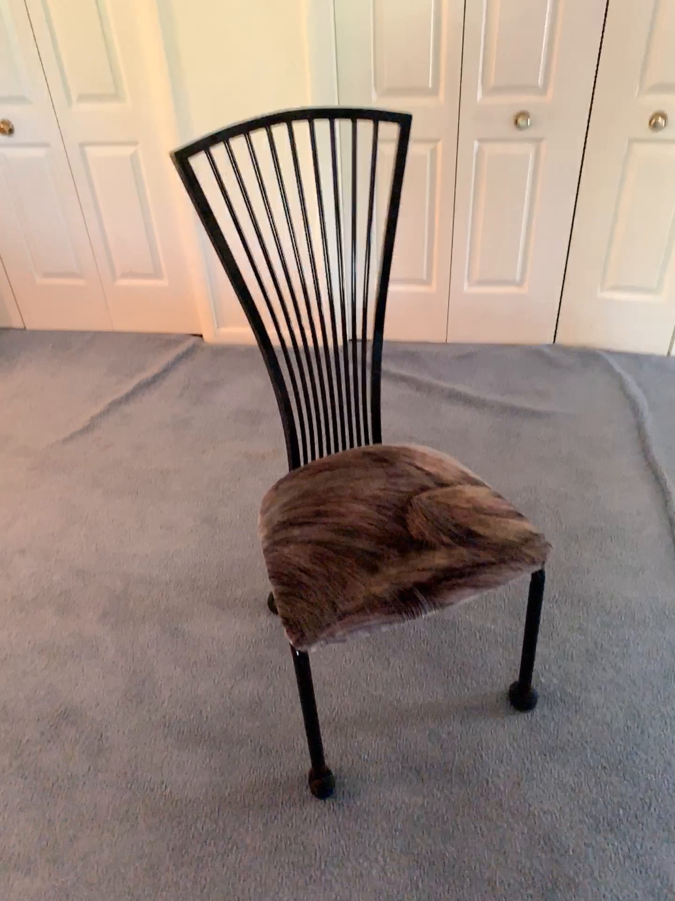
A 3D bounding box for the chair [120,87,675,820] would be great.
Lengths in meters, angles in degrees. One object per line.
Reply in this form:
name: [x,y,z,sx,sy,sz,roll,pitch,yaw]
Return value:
chair: [0.061,0.013,1.139,0.510,0.975,0.543,-17,39,-18]
